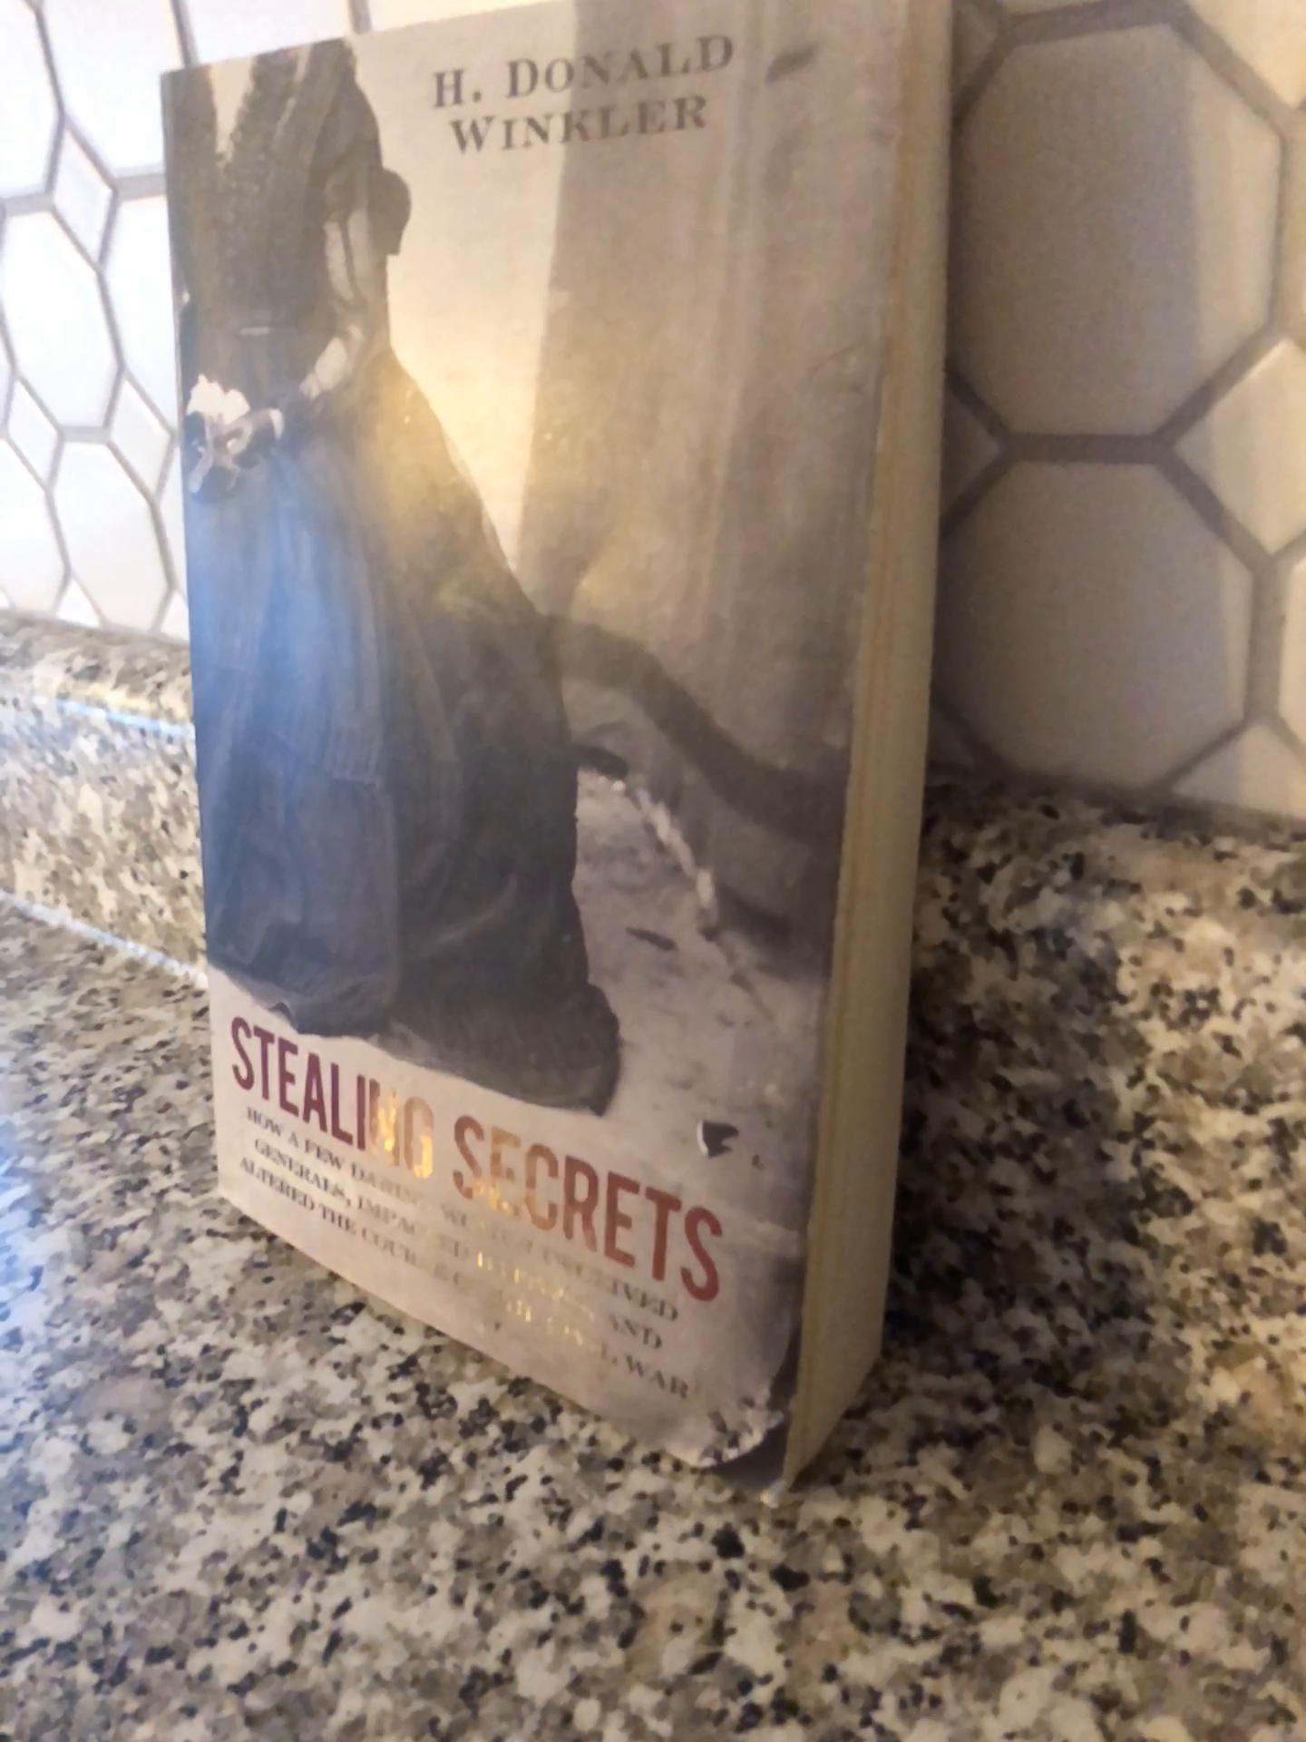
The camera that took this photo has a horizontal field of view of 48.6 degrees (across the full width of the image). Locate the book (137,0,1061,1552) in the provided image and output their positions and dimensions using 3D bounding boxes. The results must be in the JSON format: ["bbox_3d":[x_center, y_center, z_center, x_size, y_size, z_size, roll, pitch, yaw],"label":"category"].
[{"bbox_3d":[-0.021,-0.023,0.259,0.162,0.225,0.041,13,19,38],"label":"book"}]
